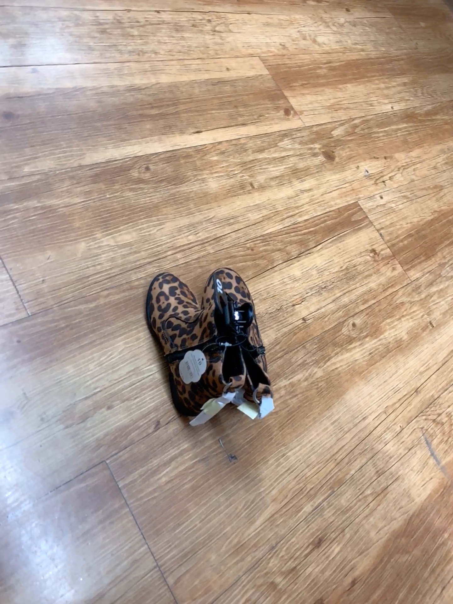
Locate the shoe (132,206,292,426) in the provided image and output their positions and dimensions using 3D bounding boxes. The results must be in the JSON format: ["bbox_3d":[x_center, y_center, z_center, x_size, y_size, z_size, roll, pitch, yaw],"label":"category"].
[{"bbox_3d":[-0.026,0.015,0.484,0.070,0.120,0.190,-9,70,-31],"label":"shoe"}]

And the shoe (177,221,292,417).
[{"bbox_3d":[0.008,0.024,0.516,0.070,0.120,0.180,-15,70,-2],"label":"shoe"}]
